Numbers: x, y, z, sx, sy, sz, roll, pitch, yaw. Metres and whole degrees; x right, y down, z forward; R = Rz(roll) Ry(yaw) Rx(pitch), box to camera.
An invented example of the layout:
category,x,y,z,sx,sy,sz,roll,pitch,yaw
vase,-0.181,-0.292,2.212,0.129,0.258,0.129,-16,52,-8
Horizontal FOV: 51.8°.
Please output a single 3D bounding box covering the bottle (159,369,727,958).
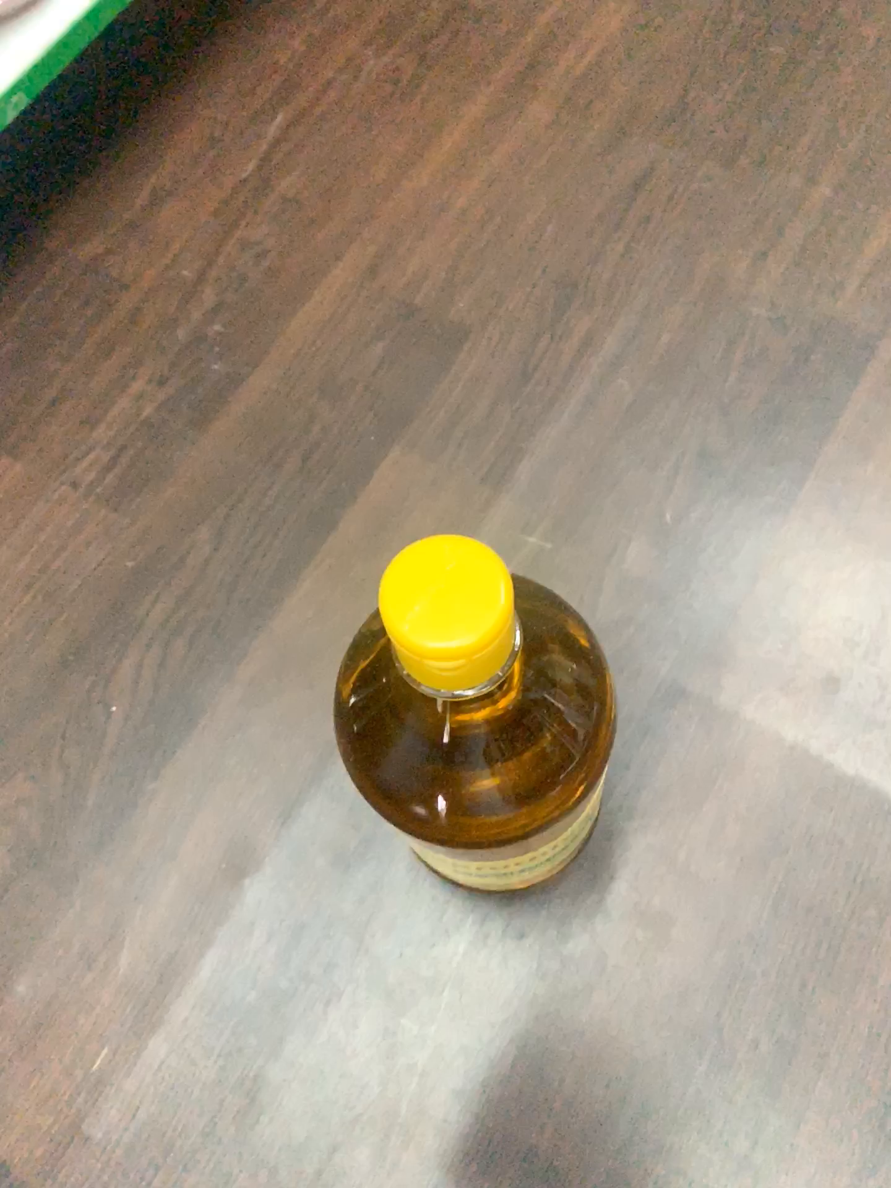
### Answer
category,x,y,z,sx,sy,sz,roll,pitch,yaw
bottle,0.008,0.047,0.301,0.090,0.220,0.090,-3,66,6
